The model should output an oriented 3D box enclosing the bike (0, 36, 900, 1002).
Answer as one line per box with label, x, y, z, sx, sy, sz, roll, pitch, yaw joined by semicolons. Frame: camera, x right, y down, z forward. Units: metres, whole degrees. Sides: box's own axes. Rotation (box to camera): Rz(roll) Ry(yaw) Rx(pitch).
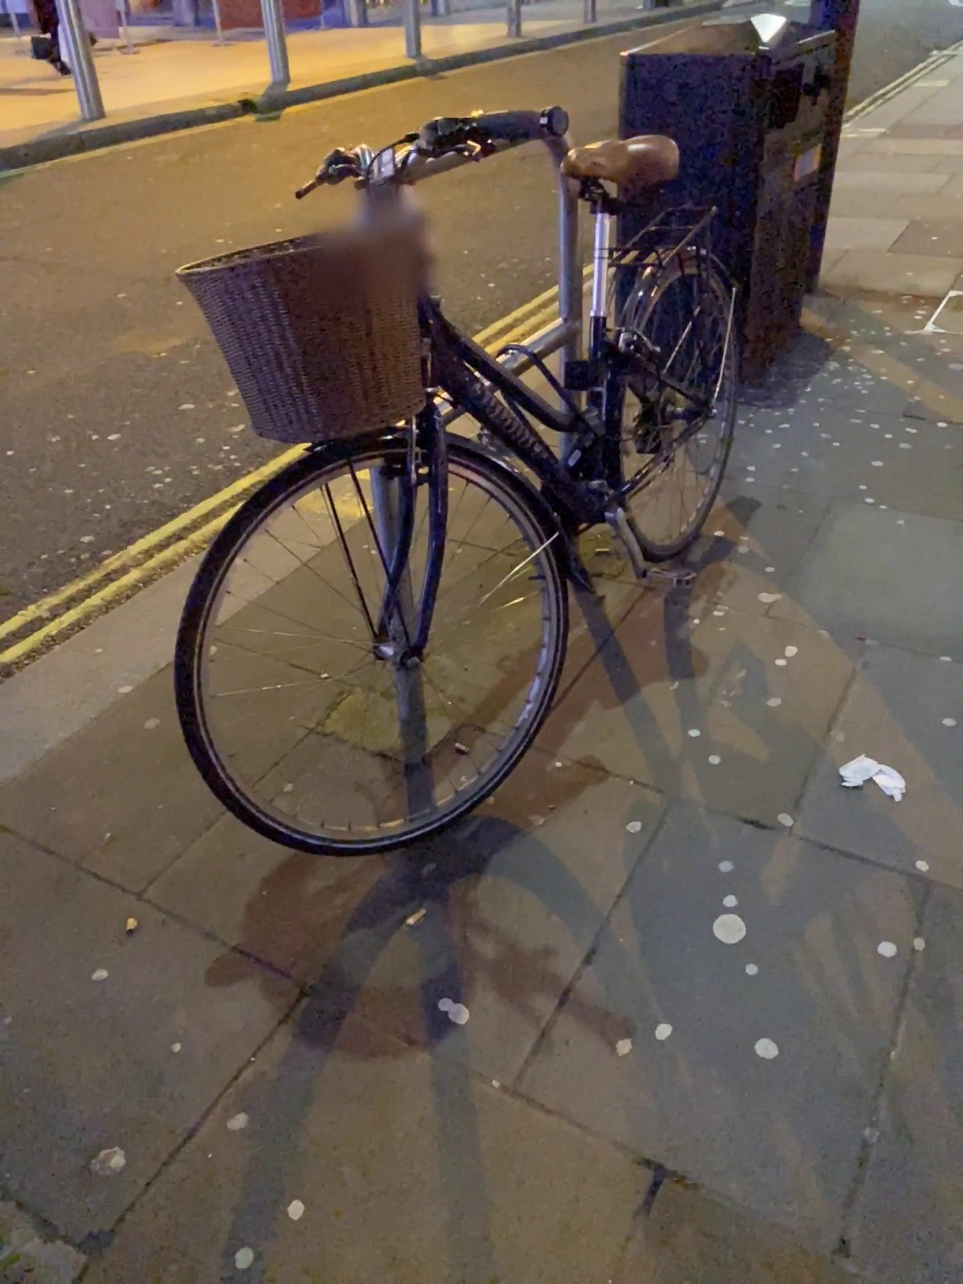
bike;0.073;-0.431;1.881;0.661;1.063;1.717;21;43;31
